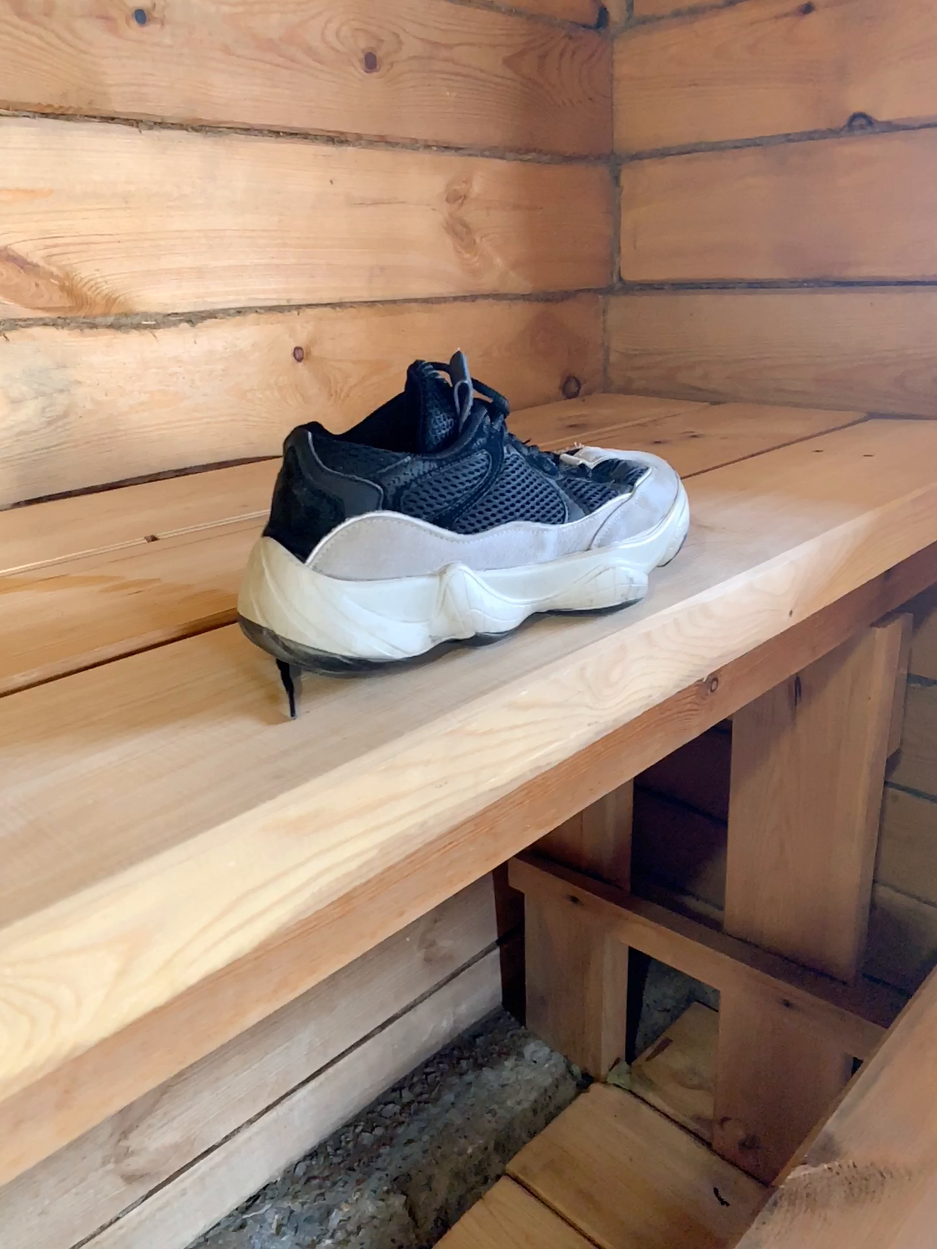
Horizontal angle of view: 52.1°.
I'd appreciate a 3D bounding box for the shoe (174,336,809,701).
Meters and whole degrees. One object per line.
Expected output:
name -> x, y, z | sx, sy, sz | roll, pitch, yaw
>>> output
shoe -> 0.022, -0.070, 0.451 | 0.271, 0.109, 0.121 | -15, 23, -34
